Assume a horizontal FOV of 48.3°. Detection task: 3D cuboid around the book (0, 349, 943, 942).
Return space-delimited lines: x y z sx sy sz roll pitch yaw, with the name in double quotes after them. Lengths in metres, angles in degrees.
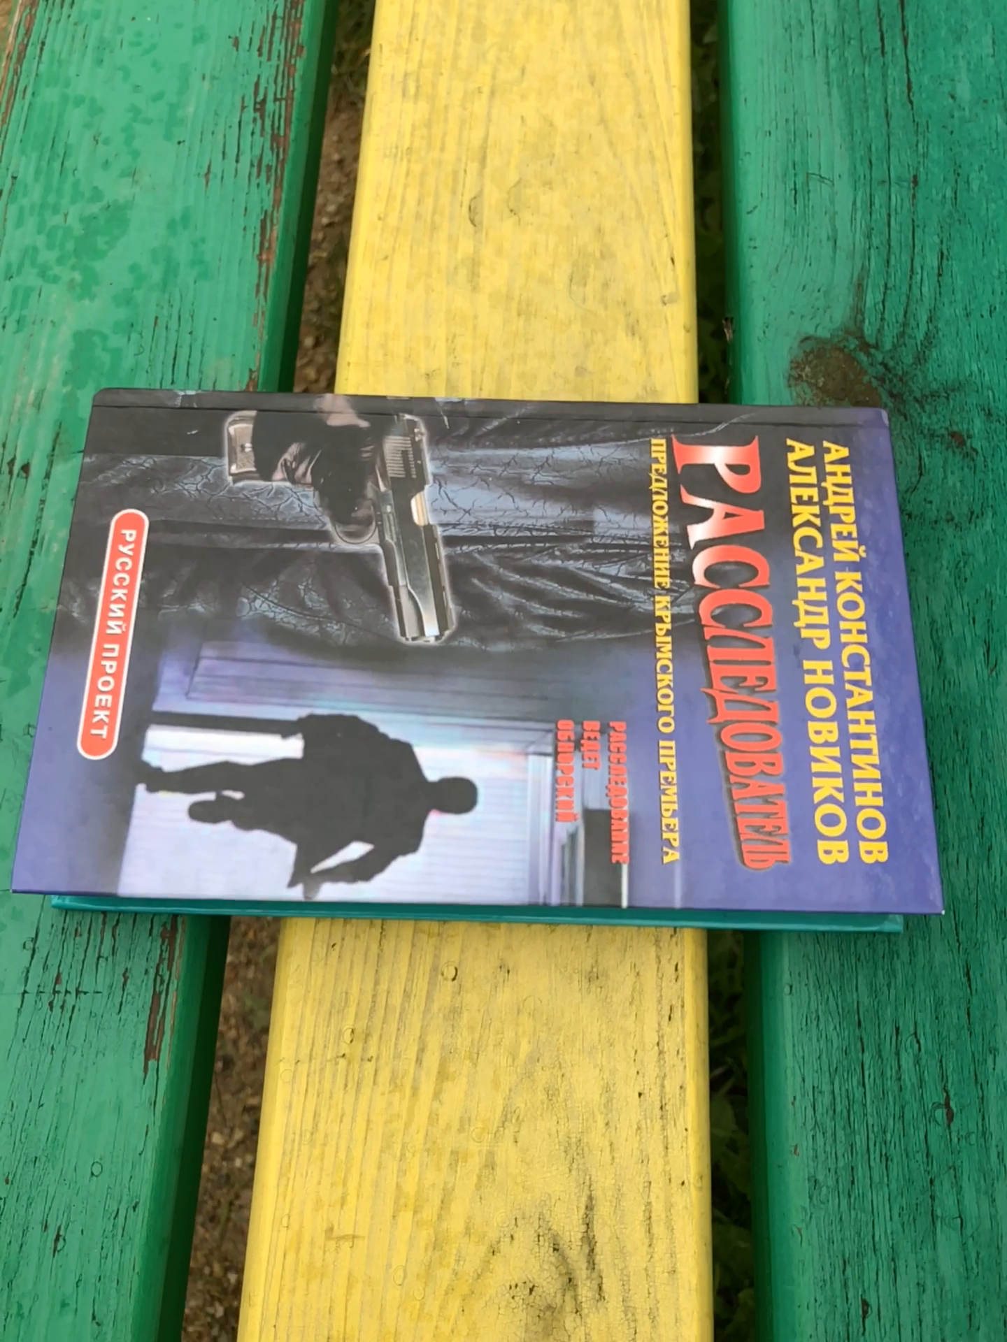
-0.005 -0.009 0.277 0.201 0.031 0.139 2 70 0 "book"
